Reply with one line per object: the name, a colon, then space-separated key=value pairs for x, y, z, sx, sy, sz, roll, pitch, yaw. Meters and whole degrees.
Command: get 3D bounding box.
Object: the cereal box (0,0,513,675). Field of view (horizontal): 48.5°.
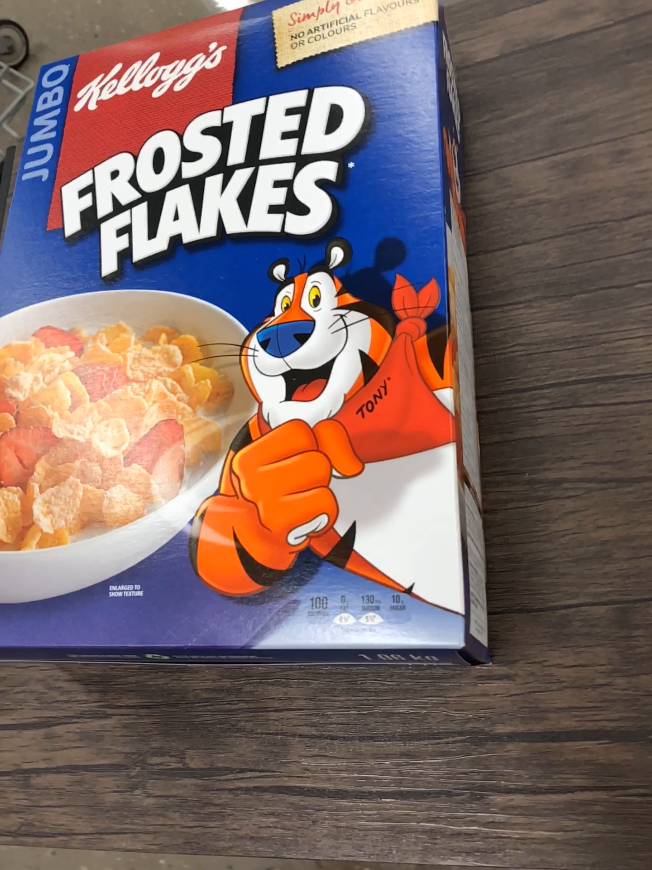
cereal box: x=-0.044 y=-0.075 z=0.381 sx=0.250 sy=0.100 sz=0.370 roll=-5 pitch=67 yaw=18
